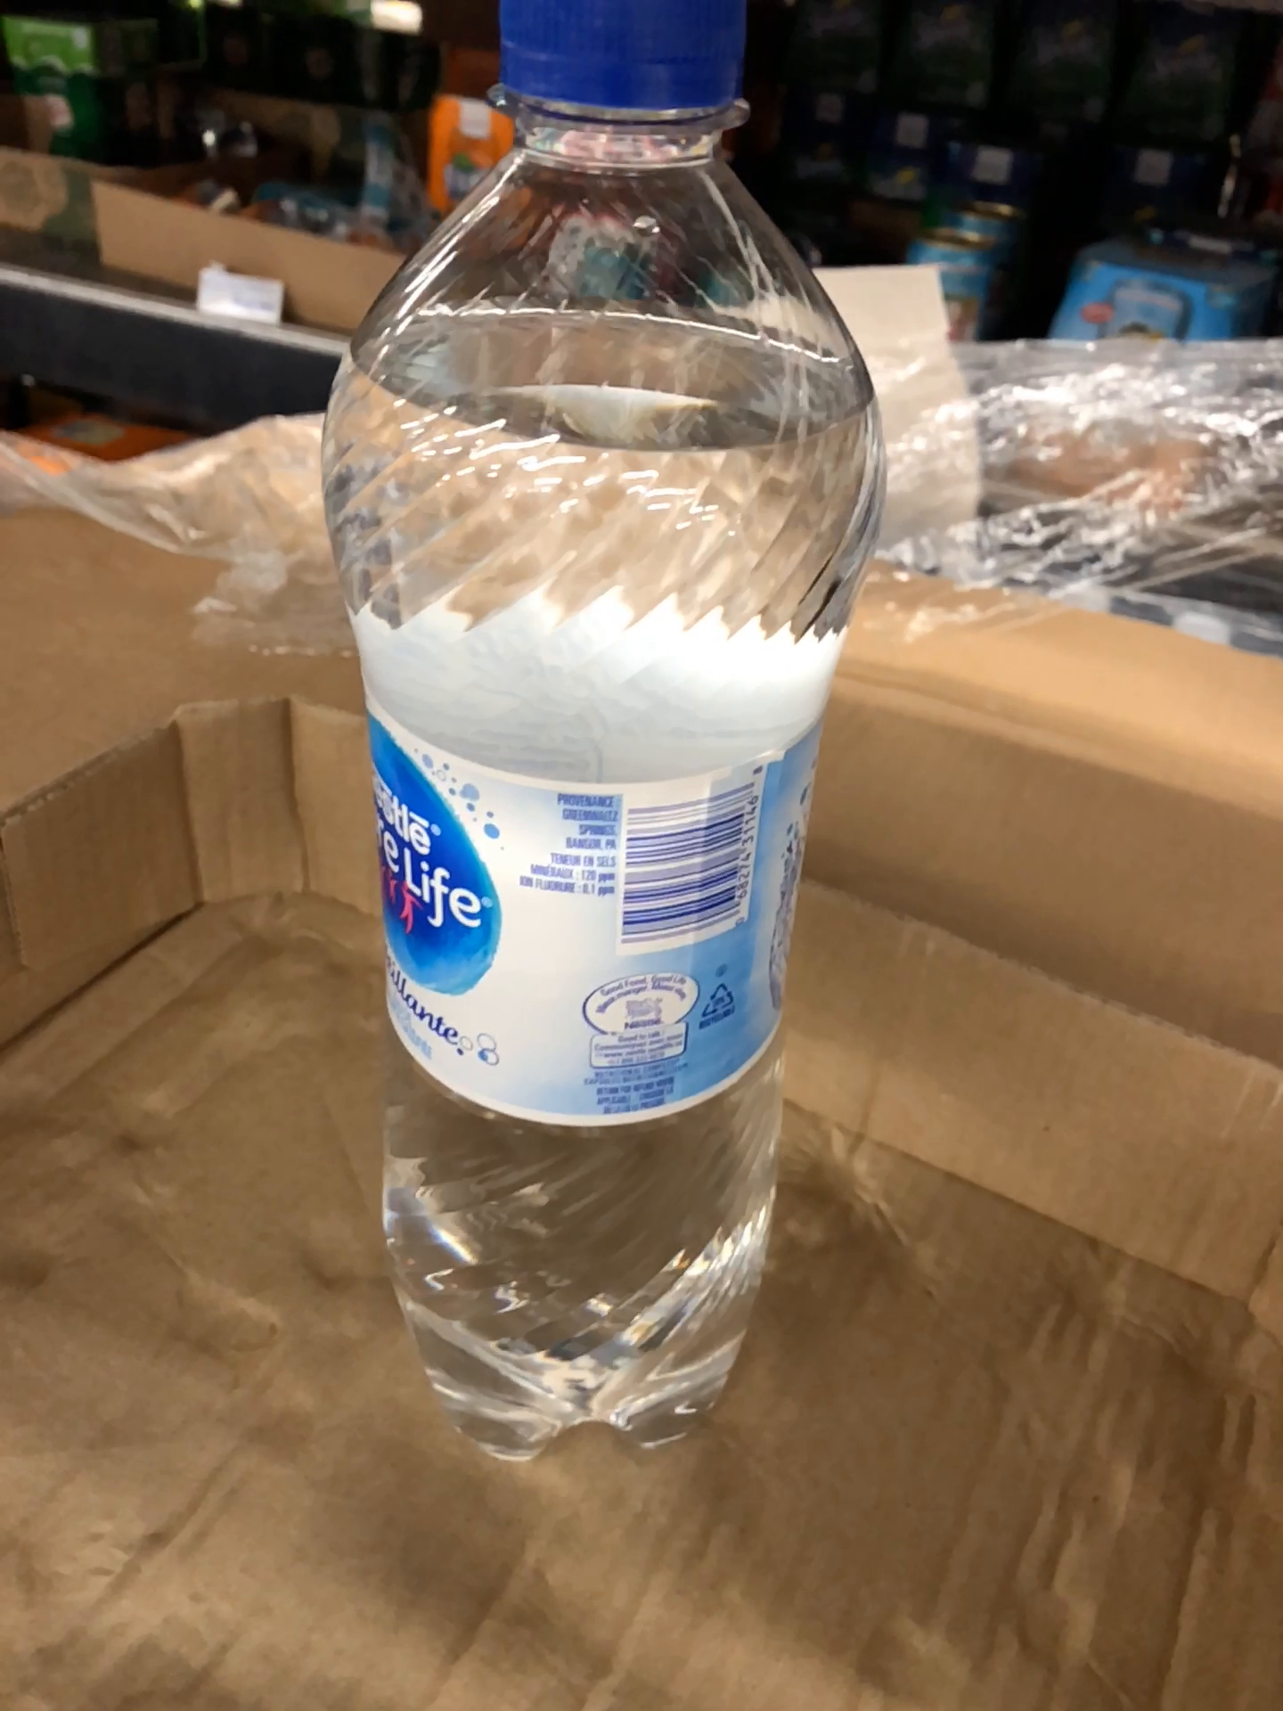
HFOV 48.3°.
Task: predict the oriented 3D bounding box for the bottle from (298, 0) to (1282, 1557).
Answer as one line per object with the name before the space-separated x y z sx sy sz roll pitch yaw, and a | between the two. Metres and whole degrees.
bottle | 0.006 -0.010 0.269 0.100 0.278 0.101 4 34 -3
